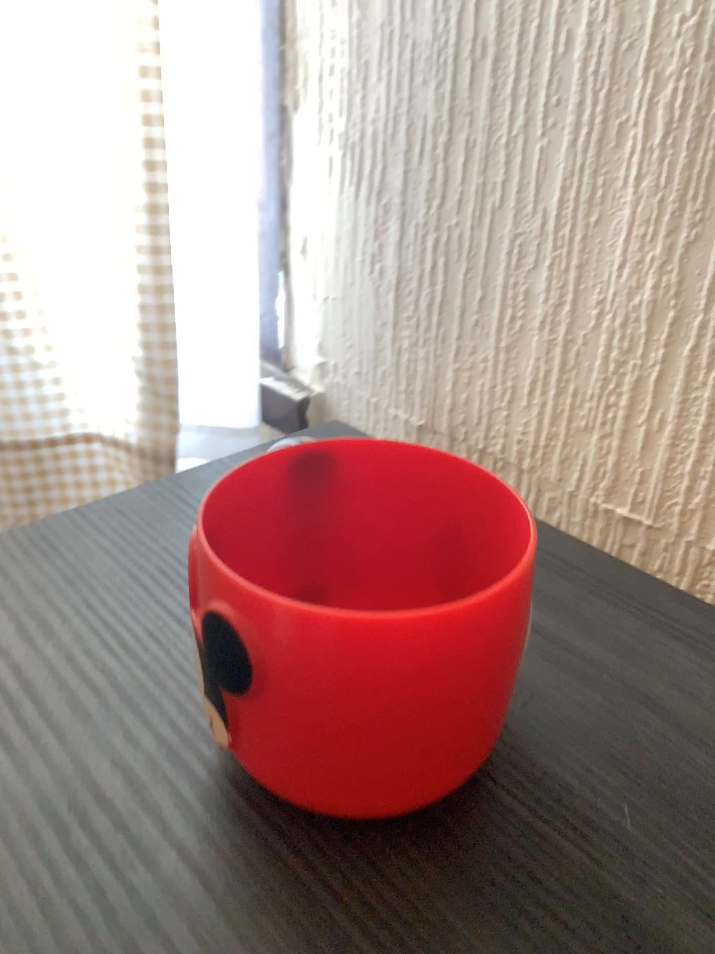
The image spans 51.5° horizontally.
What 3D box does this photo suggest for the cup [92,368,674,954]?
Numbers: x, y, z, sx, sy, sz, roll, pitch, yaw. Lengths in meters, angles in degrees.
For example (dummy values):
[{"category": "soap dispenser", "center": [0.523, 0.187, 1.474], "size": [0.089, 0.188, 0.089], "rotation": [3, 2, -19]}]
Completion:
[{"category": "cup", "center": [-0.006, 0.030, 0.208], "size": [0.100, 0.069, 0.131], "rotation": [-12, 32, -25]}]
